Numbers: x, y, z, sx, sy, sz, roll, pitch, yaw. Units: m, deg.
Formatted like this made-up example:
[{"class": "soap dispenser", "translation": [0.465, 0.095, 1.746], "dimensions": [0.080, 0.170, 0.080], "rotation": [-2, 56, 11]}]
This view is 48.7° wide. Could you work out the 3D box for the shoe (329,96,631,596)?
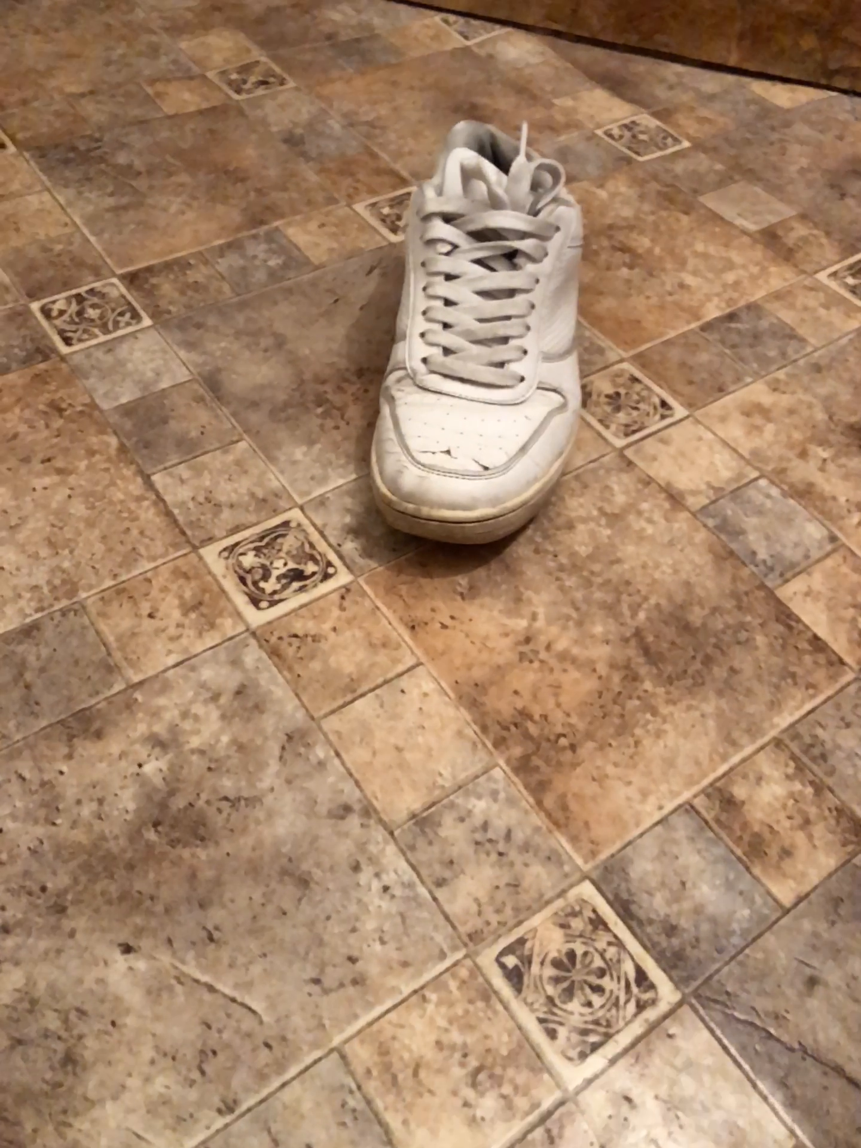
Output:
[{"class": "shoe", "translation": [0.035, -0.140, 0.529], "dimensions": [0.122, 0.109, 0.282], "rotation": [9, 51, 3]}]
